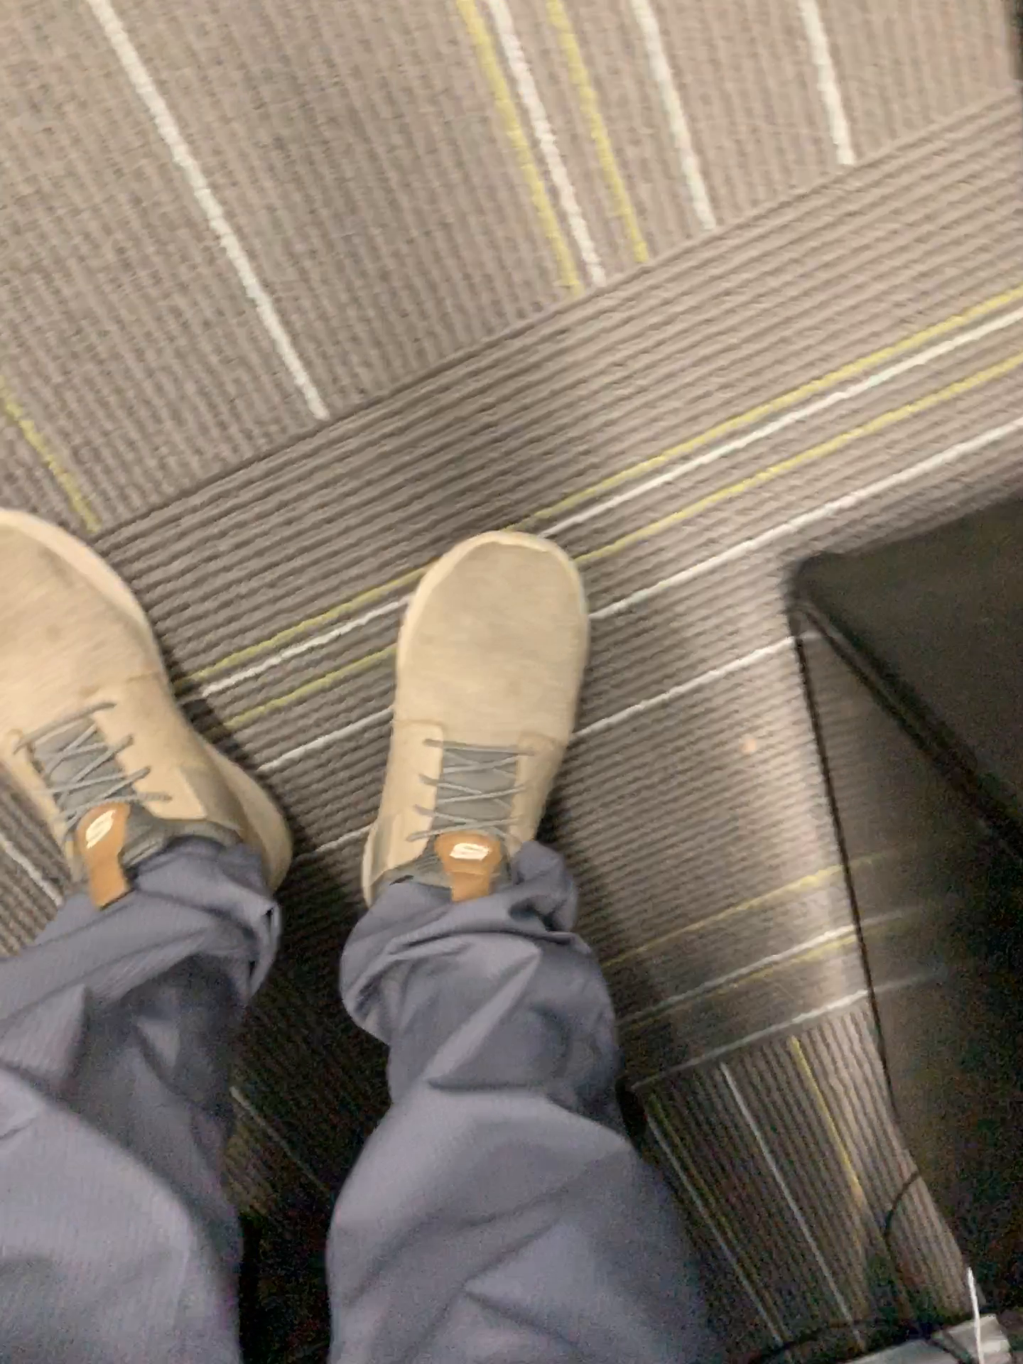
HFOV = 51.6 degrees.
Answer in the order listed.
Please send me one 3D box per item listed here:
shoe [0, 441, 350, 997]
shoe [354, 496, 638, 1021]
[{"bbox_3d":[-0.230,0.032,0.623,0.126,0.098,0.303,-28,119,7],"label":"shoe"},{"bbox_3d":[-0.023,0.055,0.635,0.107,0.098,0.303,6,118,-12],"label":"shoe"}]
